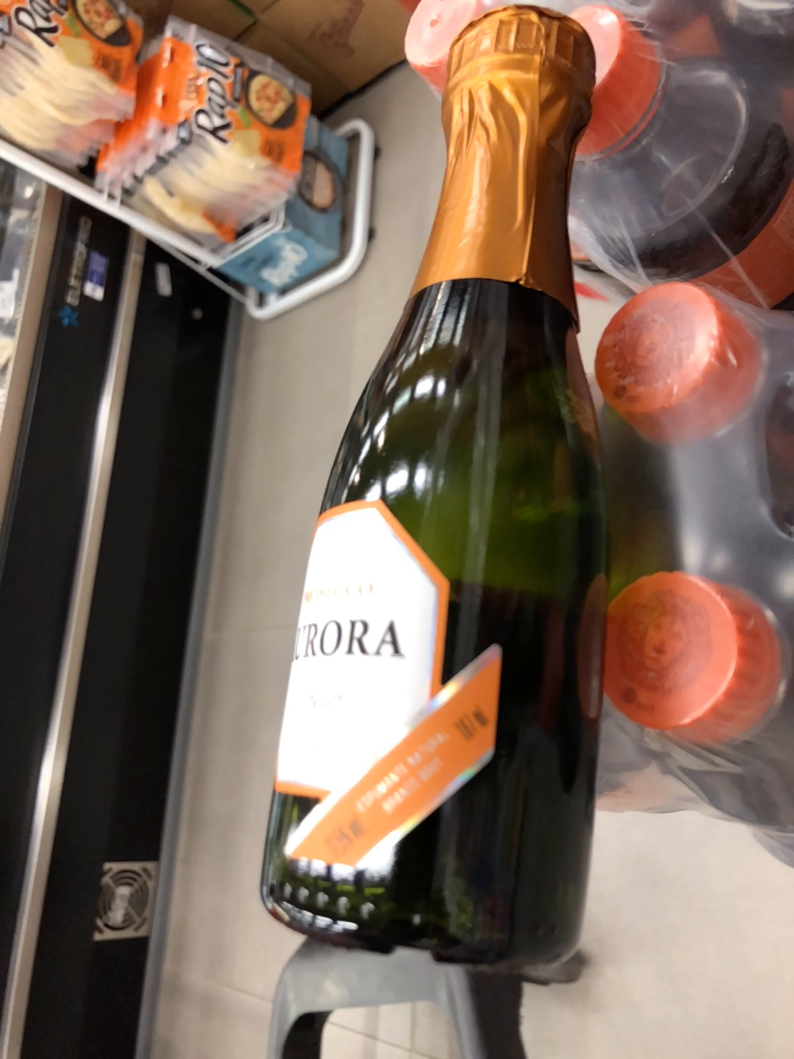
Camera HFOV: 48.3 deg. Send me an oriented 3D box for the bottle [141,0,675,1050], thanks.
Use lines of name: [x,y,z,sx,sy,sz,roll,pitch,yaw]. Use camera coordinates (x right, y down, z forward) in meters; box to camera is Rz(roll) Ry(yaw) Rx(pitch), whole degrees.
bottle: [0.006,-0.019,0.161,0.060,0.050,0.180,-5,74,44]
